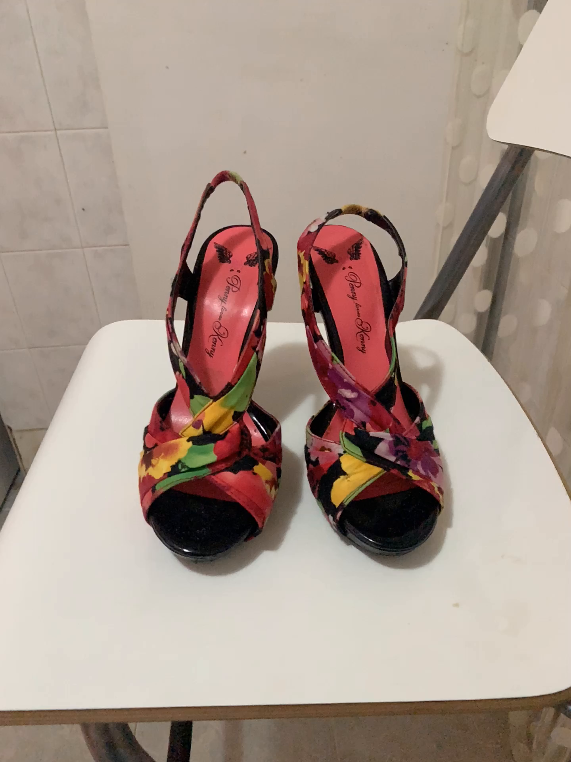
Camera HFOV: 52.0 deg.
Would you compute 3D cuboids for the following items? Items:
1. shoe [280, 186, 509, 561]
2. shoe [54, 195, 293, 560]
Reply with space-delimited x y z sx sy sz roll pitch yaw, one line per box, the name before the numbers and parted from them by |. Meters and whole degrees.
shoe | 0.044 -0.016 0.334 0.080 0.085 0.206 -3 49 -2
shoe | -0.044 -0.015 0.327 0.082 0.073 0.206 1 49 4
